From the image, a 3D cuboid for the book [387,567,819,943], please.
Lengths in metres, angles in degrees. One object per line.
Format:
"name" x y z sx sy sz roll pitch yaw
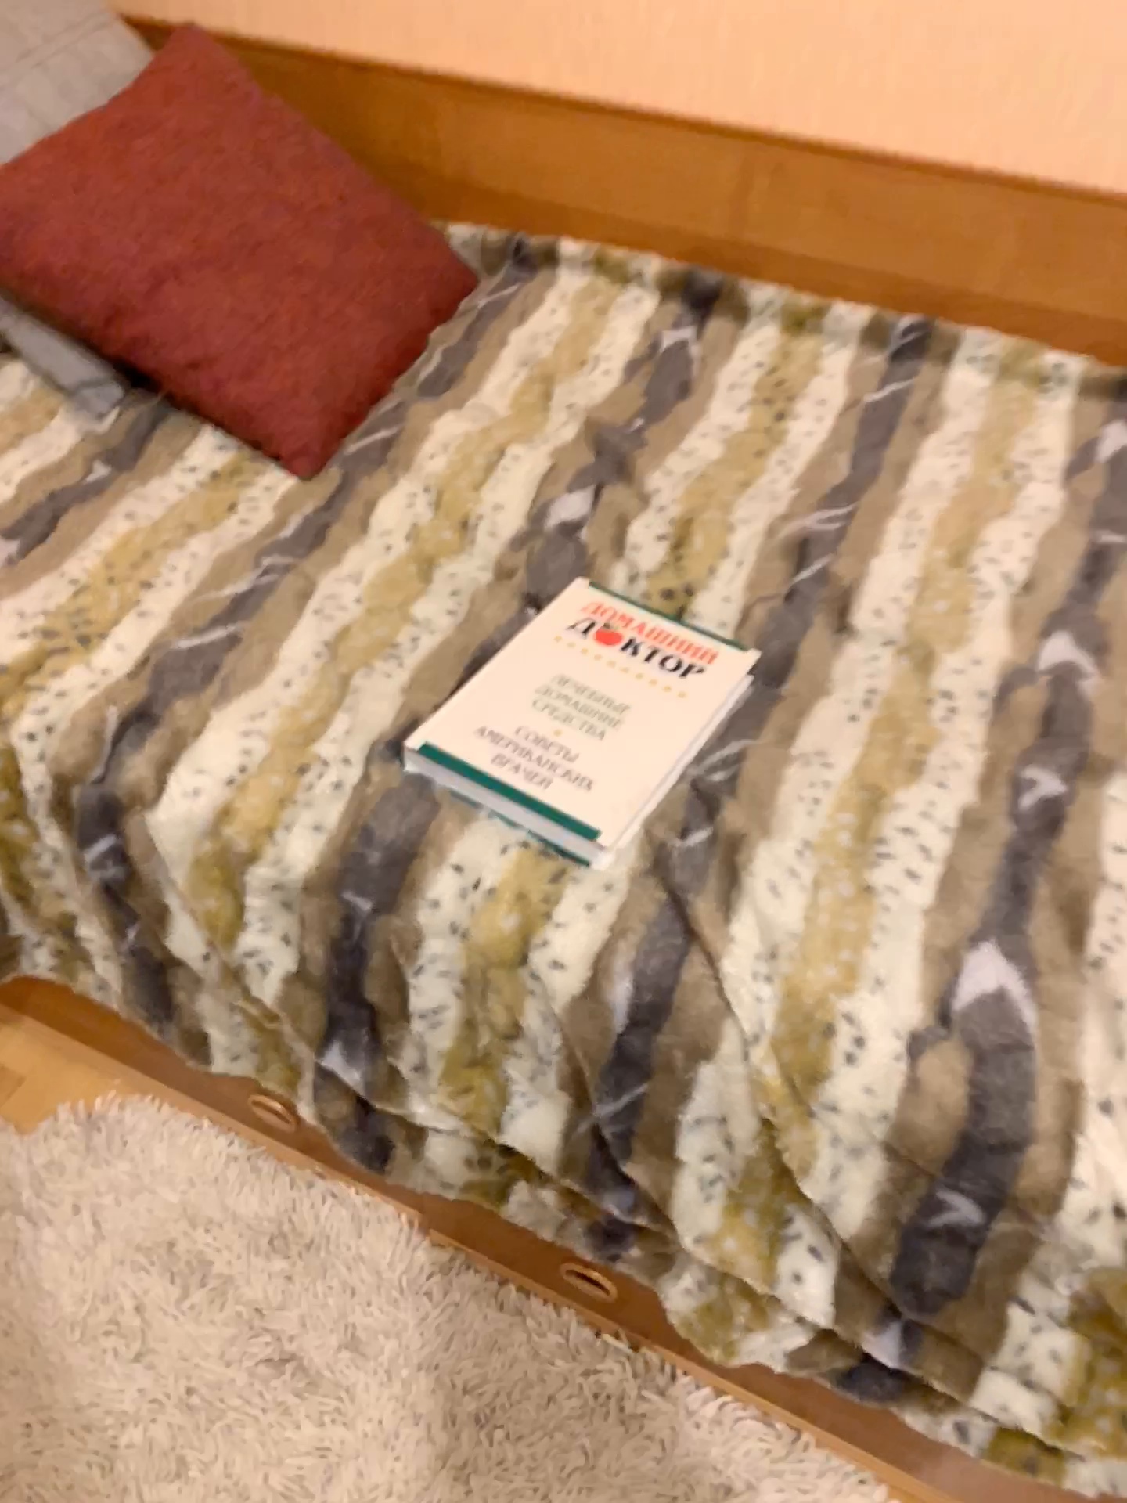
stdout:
"book" 0.033 -0.012 0.768 0.190 0.040 0.242 26 52 20
